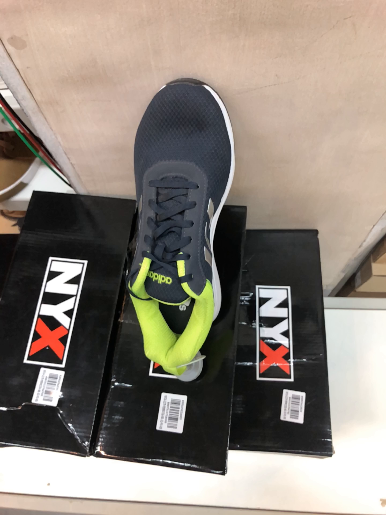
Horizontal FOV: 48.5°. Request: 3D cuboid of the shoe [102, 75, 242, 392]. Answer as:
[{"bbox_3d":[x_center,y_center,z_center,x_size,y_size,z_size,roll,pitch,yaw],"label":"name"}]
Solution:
[{"bbox_3d":[-0.016,-0.023,0.418,0.104,0.098,0.271,4,104,11],"label":"shoe"}]
